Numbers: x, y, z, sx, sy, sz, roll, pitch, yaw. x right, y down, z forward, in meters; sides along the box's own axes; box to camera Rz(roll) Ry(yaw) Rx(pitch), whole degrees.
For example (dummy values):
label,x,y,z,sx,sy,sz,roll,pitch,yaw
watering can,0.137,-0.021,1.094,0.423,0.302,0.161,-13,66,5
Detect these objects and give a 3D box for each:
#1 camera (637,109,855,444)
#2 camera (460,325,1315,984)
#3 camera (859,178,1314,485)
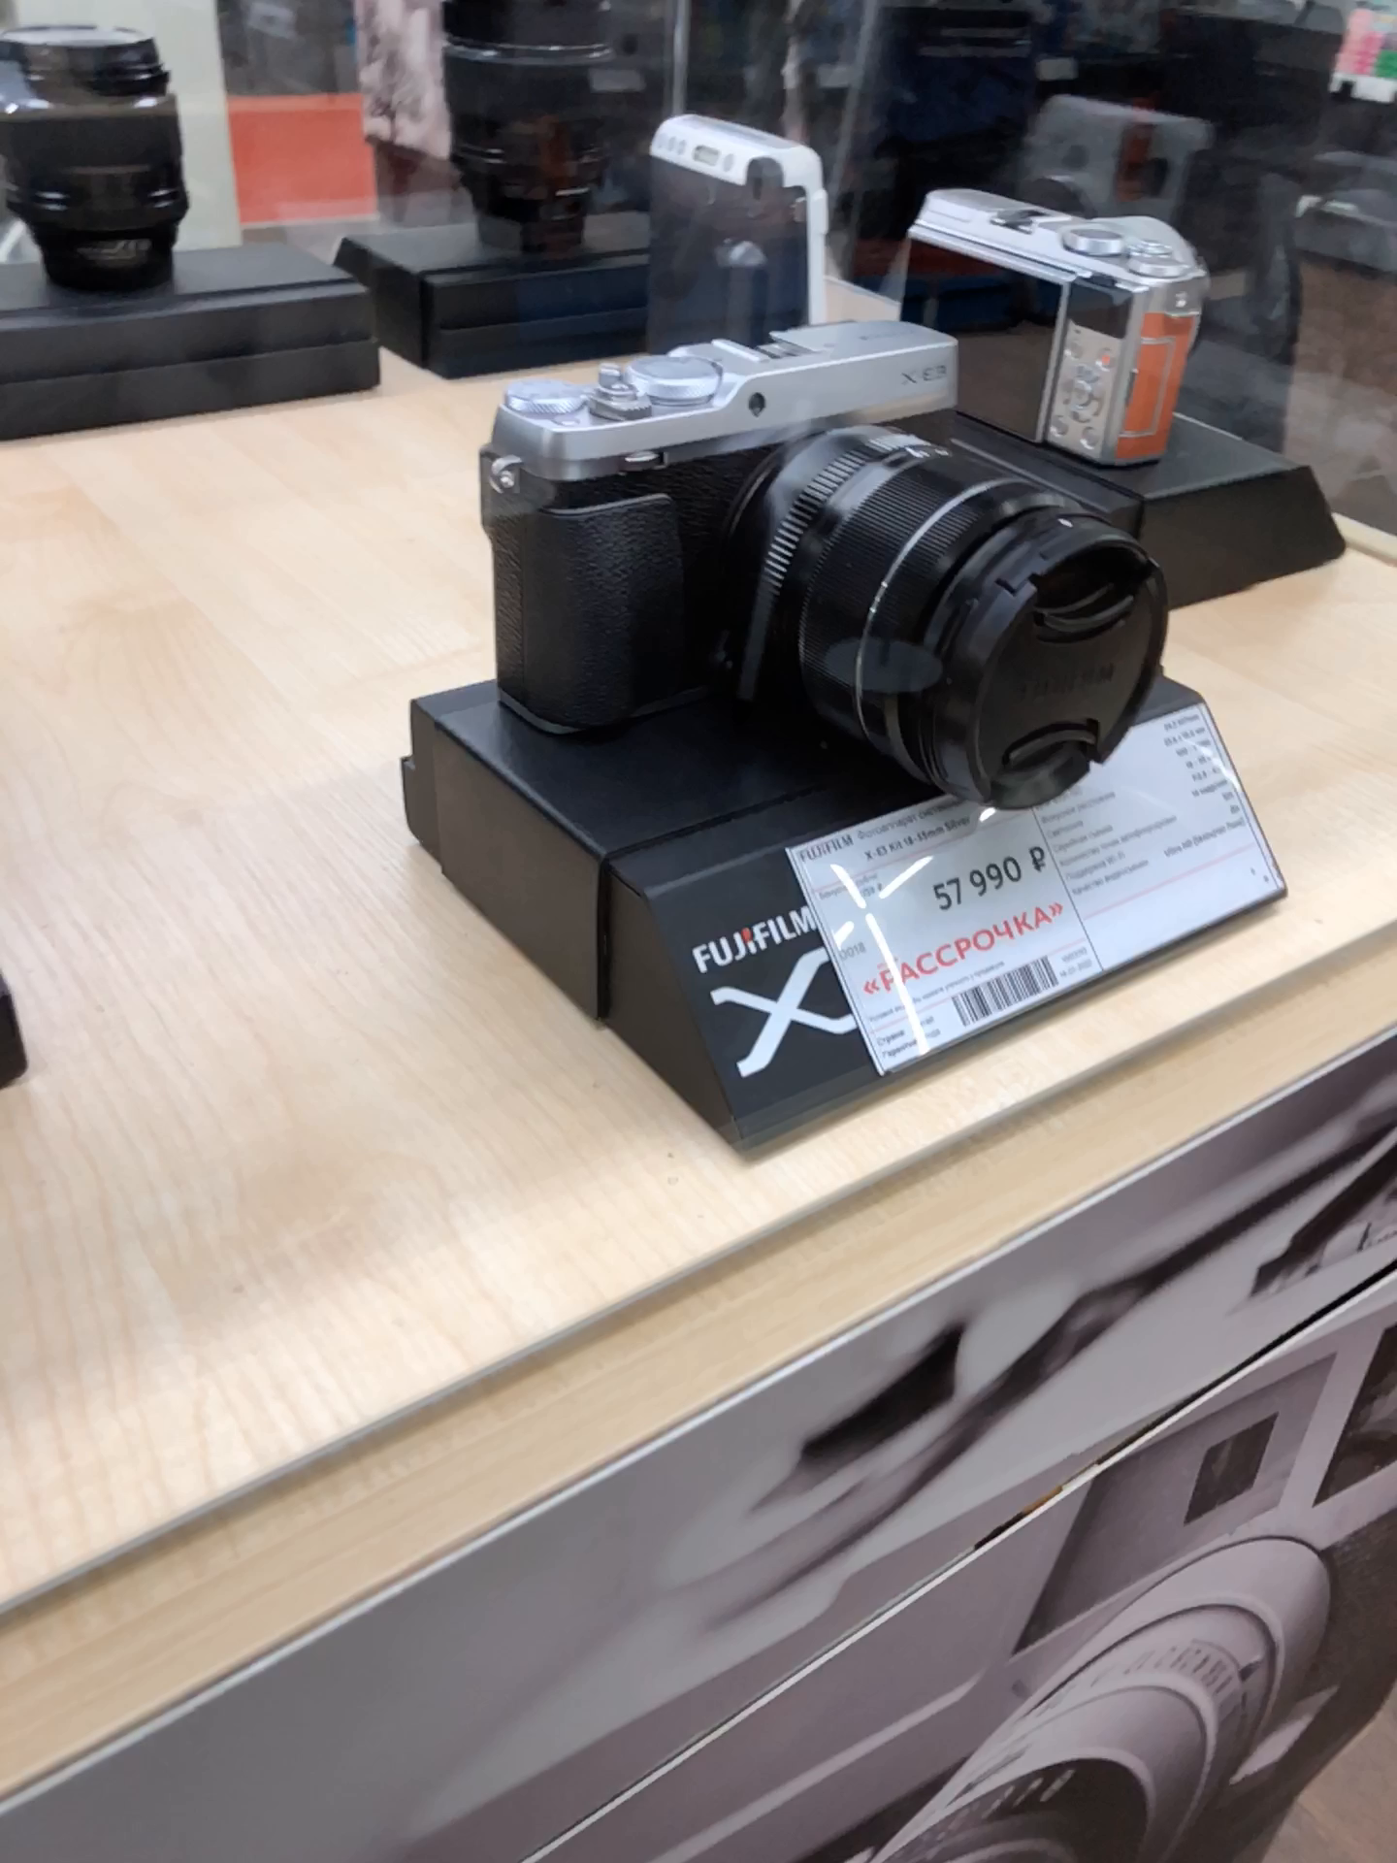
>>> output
label,x,y,z,sx,sy,sz,roll,pitch,yaw
camera,0.017,-0.274,0.642,0.045,0.109,0.088,-20,41,-27
camera,0.035,-0.071,0.338,0.132,0.079,0.116,-20,41,-30
camera,0.132,-0.219,0.553,0.077,0.068,0.132,-19,41,-29
